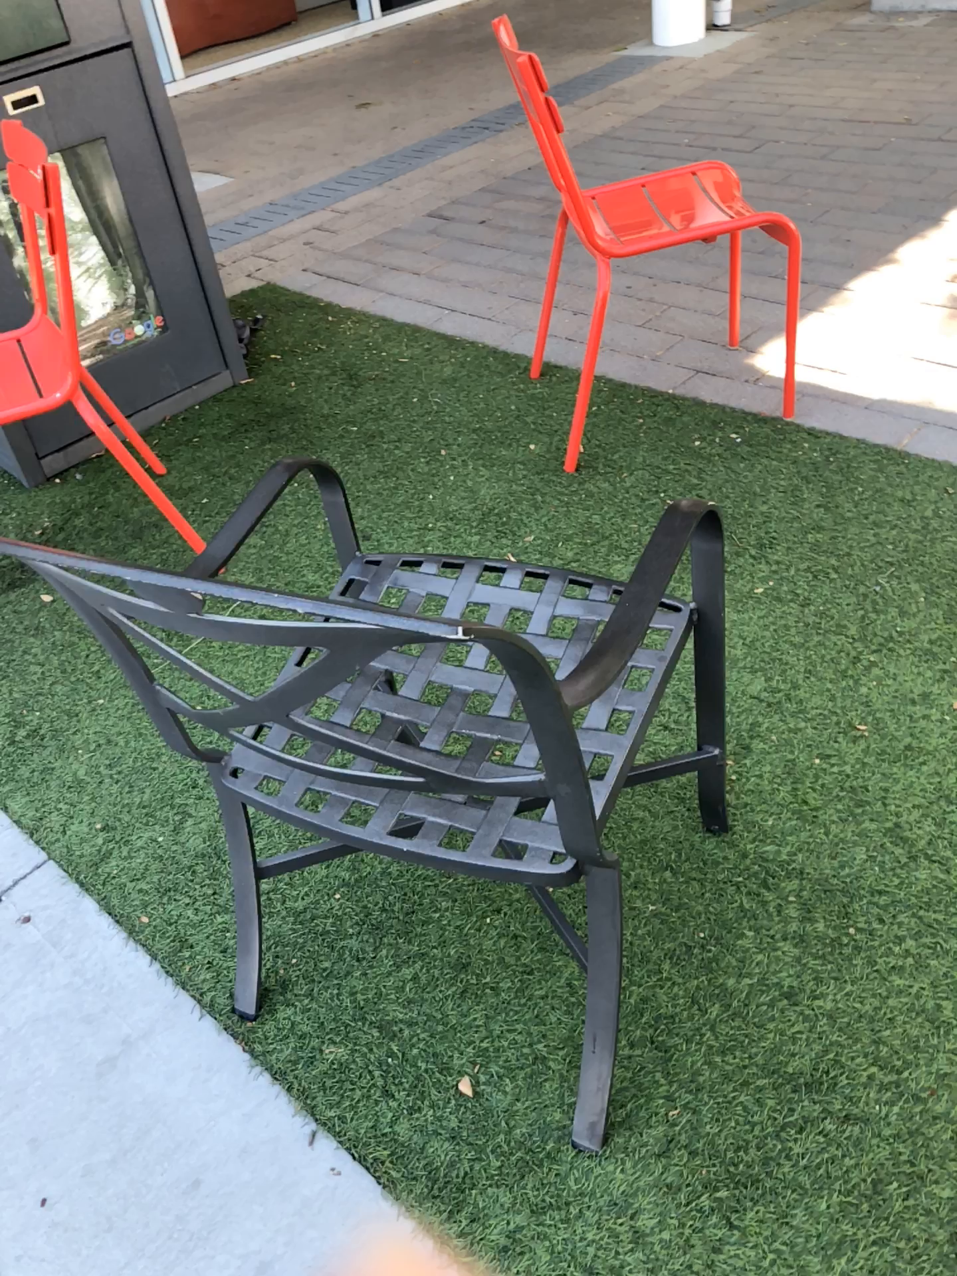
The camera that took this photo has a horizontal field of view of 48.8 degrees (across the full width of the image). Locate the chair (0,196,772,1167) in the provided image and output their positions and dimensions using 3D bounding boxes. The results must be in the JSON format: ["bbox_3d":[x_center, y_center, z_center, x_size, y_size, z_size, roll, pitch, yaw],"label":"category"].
[{"bbox_3d":[-0.066,0.016,1.230,0.641,0.806,0.642,10,45,24],"label":"chair"}]
